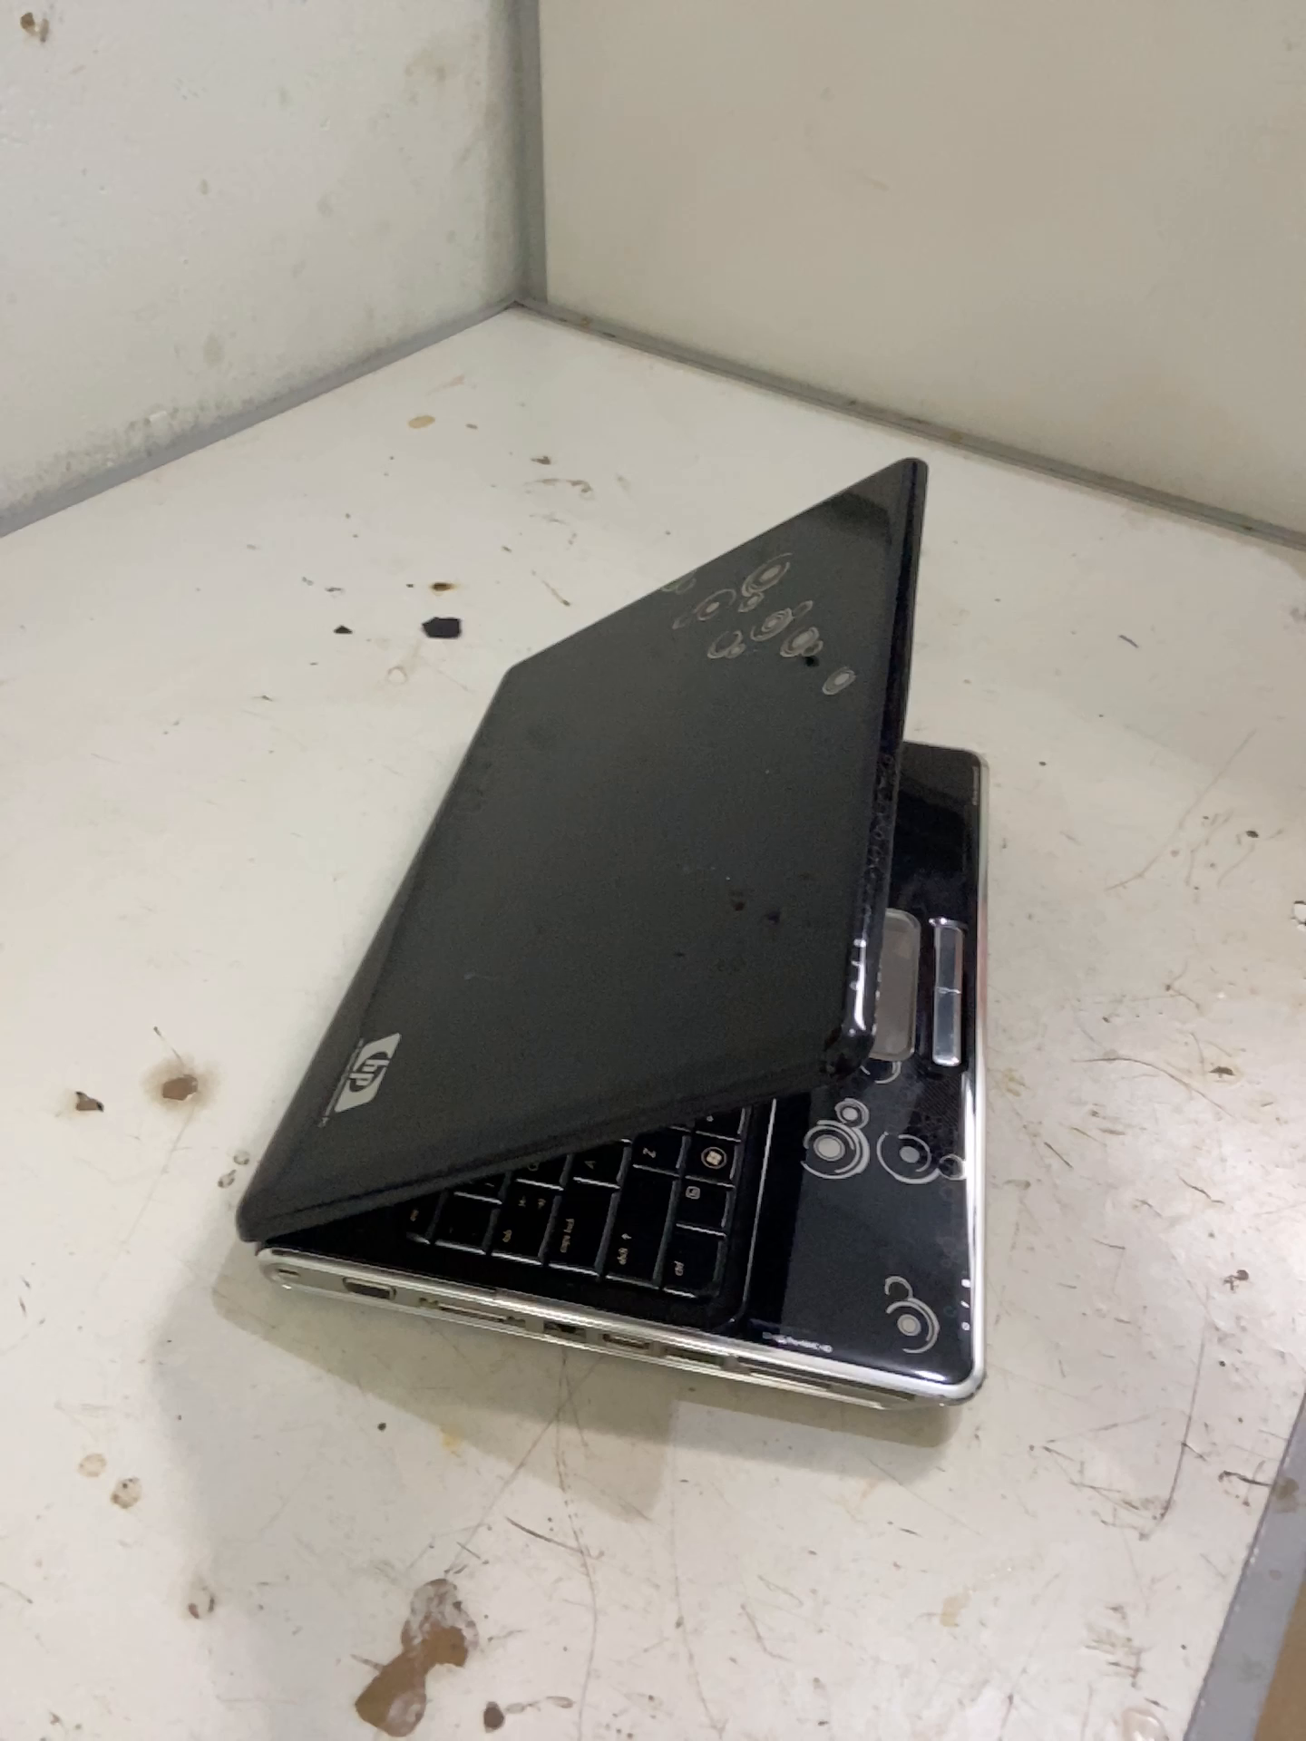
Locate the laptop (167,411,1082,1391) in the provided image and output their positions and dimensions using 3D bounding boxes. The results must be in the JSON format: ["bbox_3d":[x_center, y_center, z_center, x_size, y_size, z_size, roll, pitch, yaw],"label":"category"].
[{"bbox_3d":[0.019,-0.020,0.496,0.231,0.137,0.330,10,43,6],"label":"laptop"}]
